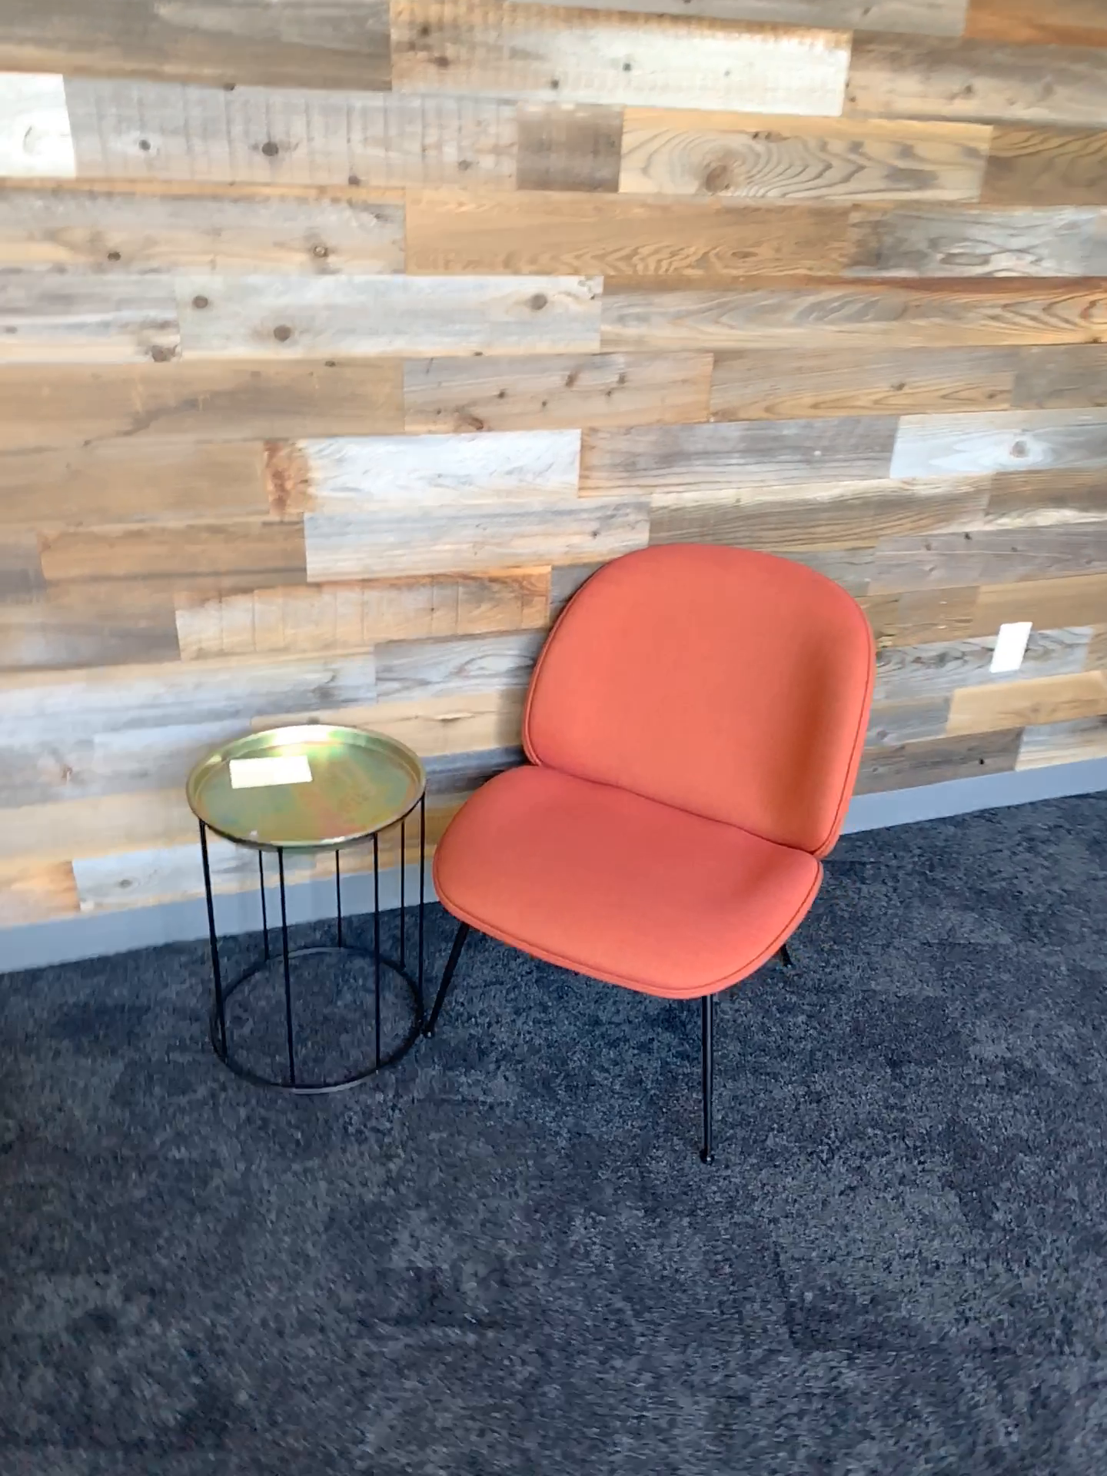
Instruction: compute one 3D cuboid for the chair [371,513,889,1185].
[{"bbox_3d":[0.146,0.125,1.913,0.571,0.756,0.713,15,31,22],"label":"chair"}]
